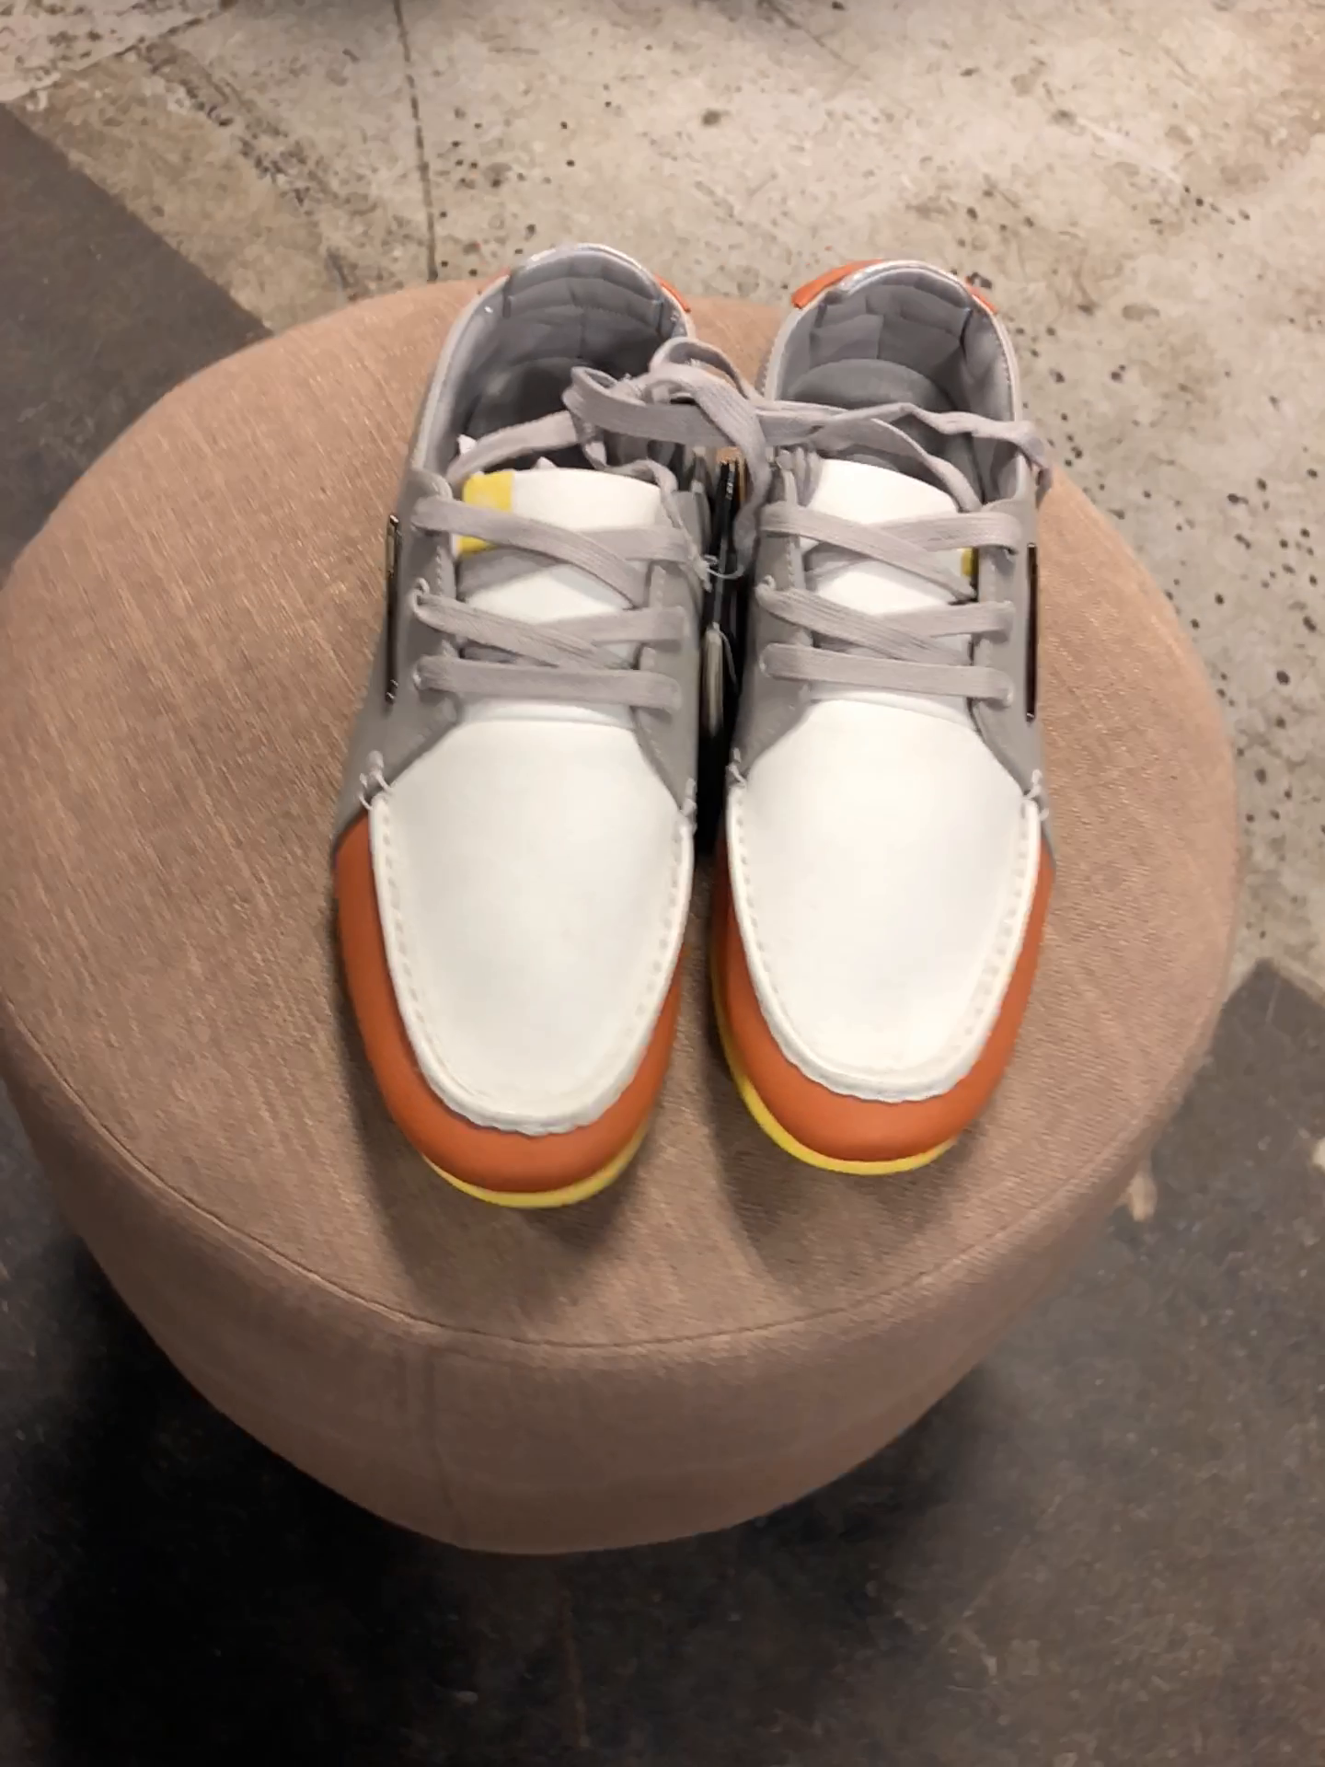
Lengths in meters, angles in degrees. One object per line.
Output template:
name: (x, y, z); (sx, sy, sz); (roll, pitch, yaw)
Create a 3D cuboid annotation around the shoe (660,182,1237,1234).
shoe: (0.057, -0.051, 0.375); (0.100, 0.099, 0.251); (4, 61, -3)

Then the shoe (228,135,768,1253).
shoe: (-0.030, -0.059, 0.385); (0.100, 0.099, 0.282); (4, 61, -3)
